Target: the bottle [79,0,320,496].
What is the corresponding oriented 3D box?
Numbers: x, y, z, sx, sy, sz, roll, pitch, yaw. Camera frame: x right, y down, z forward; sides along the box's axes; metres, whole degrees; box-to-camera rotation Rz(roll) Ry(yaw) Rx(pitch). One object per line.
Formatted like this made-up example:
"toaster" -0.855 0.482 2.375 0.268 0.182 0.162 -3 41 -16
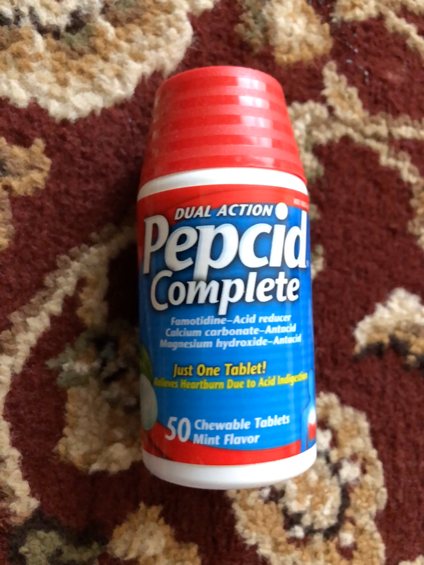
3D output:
"bottle" -0.003 -0.009 0.156 0.060 0.060 0.130 -1 88 2
